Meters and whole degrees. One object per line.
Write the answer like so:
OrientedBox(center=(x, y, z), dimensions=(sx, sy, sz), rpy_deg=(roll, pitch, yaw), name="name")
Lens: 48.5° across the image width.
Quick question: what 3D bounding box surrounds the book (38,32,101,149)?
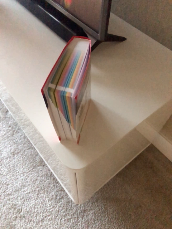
OrientedBox(center=(-0.024, -0.041, 0.393), dimensions=(0.060, 0.179, 0.150), rpy_deg=(14, 57, 7), name="book")
